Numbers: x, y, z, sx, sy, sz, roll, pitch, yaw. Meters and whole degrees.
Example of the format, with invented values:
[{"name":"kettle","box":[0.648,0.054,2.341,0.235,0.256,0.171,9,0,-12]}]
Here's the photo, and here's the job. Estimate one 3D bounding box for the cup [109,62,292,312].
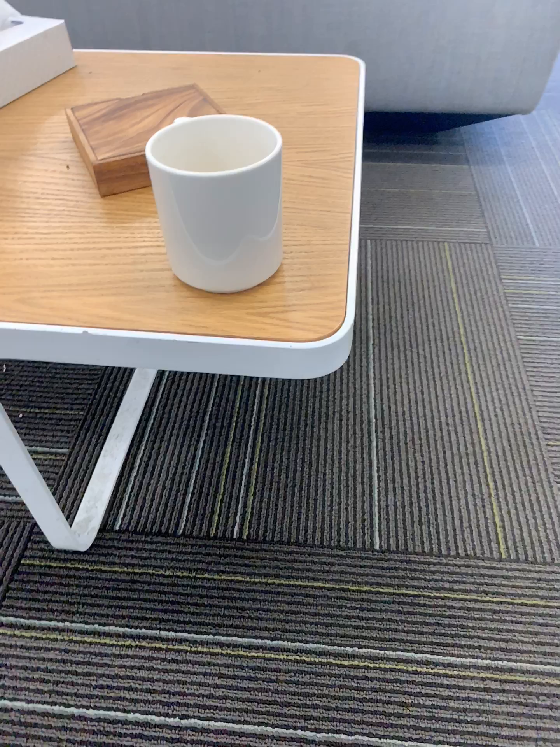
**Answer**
[{"name":"cup","box":[-0.053,-0.126,0.374,0.090,0.090,0.141,-10,47,-8]}]
